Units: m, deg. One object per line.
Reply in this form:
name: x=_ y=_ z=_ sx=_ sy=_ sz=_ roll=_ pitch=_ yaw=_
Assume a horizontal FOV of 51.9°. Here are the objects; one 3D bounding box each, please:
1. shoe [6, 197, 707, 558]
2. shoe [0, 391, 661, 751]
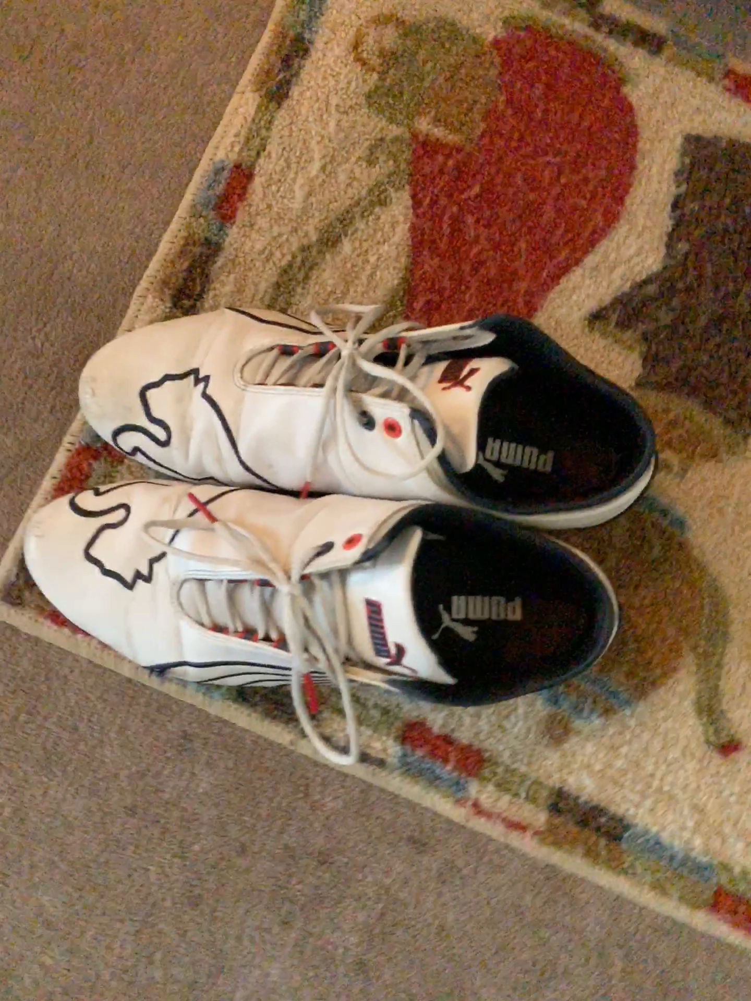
shoe: x=-0.004 y=-0.049 z=0.377 sx=0.290 sy=0.090 sz=0.100 roll=10 pitch=81 yaw=-4
shoe: x=-0.030 y=0.036 z=0.370 sx=0.290 sy=0.100 sz=0.100 roll=10 pitch=81 yaw=-4
